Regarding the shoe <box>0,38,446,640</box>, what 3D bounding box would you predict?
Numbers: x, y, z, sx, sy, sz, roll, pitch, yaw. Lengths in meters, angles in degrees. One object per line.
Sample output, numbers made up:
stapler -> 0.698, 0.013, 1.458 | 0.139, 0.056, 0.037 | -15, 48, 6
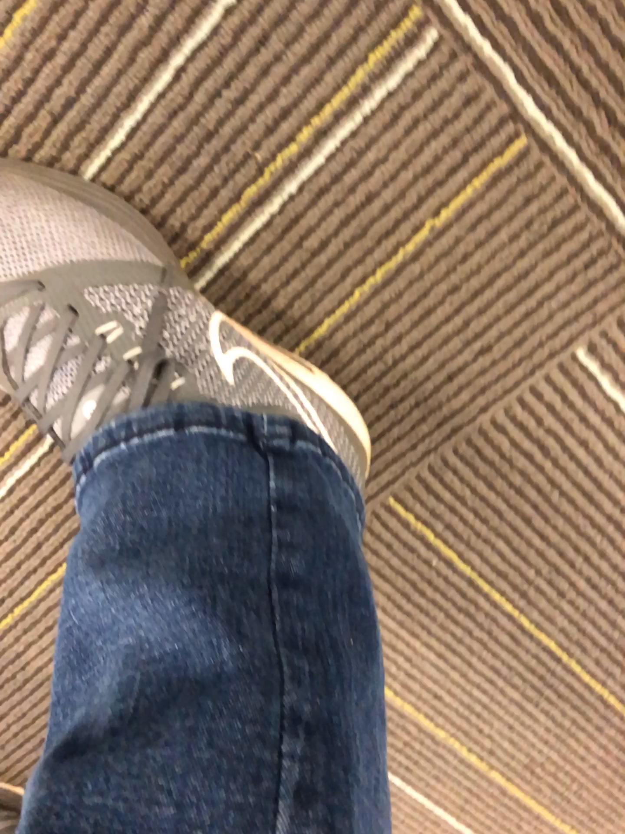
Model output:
shoe -> -0.093, -0.028, 0.338 | 0.300, 0.060, 0.120 | 36, 114, -7
